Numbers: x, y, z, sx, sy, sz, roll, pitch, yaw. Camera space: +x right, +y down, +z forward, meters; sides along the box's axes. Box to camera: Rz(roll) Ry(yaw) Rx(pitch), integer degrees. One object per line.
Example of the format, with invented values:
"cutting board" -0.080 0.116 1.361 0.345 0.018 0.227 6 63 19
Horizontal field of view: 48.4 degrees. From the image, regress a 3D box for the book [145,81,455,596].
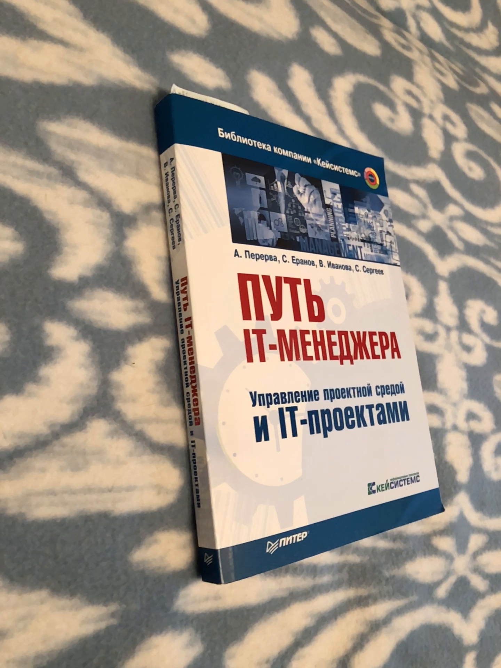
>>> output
"book" 0.035 -0.004 0.303 0.173 0.019 0.228 1 79 -38
